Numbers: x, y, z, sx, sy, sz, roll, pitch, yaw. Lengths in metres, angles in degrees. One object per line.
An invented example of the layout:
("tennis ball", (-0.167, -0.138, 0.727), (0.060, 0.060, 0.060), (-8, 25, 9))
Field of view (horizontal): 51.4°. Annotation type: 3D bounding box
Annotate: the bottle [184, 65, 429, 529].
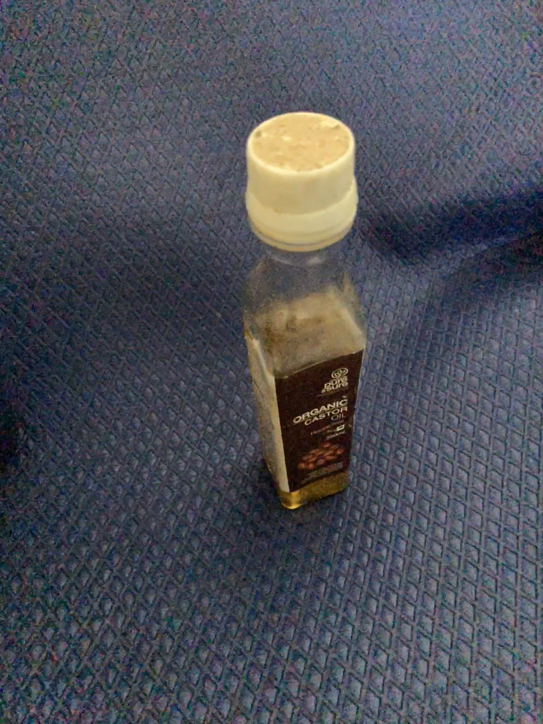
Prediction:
("bottle", (0.014, -0.002, 0.229), (0.050, 0.199, 0.050), (-3, 51, 3))
